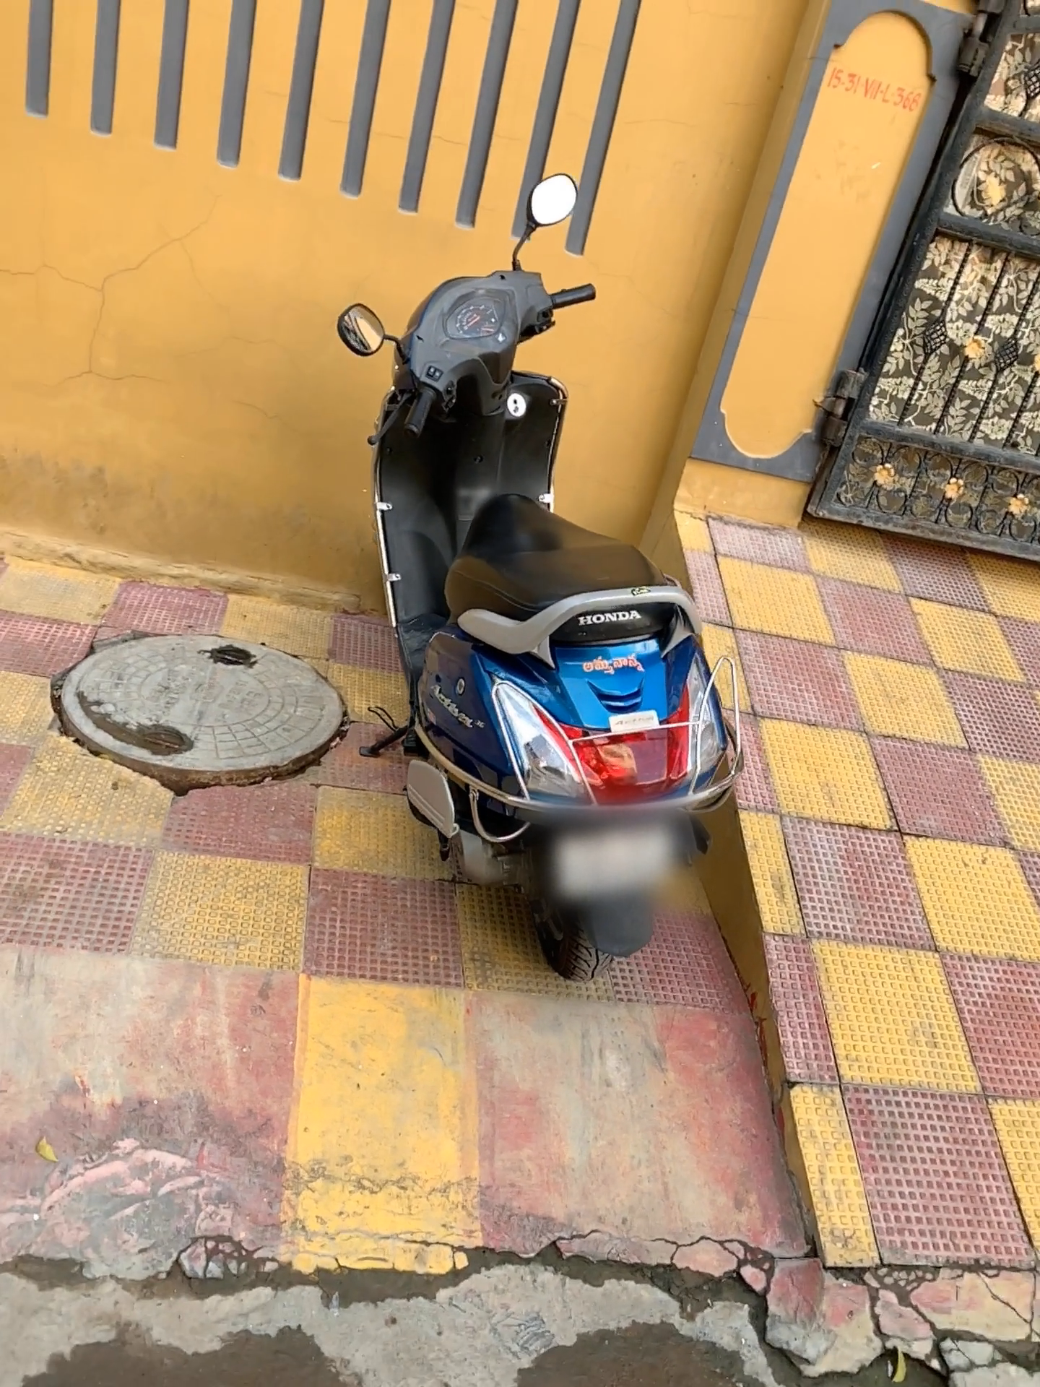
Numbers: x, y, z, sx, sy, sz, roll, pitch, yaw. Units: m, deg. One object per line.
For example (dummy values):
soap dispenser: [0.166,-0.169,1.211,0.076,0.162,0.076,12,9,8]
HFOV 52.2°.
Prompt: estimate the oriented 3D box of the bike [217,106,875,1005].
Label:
bike: [-0.164,-0.390,2.186,0.596,1.098,1.533,3,31,-24]
